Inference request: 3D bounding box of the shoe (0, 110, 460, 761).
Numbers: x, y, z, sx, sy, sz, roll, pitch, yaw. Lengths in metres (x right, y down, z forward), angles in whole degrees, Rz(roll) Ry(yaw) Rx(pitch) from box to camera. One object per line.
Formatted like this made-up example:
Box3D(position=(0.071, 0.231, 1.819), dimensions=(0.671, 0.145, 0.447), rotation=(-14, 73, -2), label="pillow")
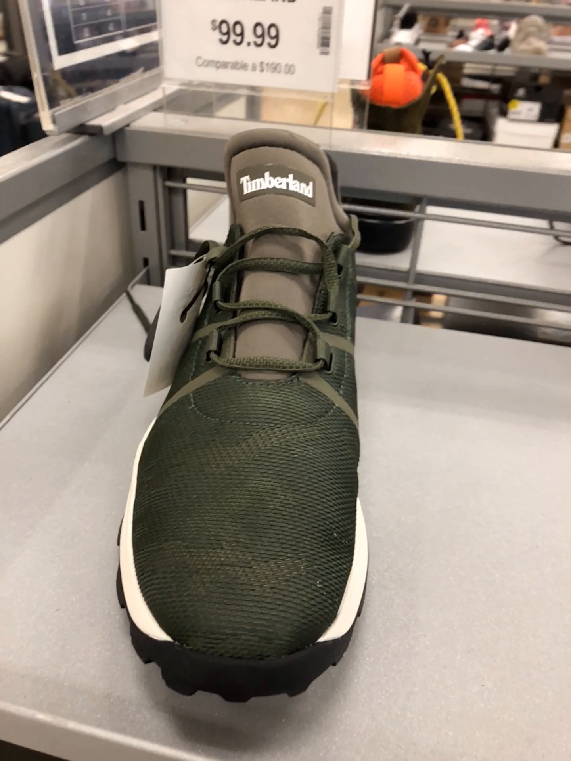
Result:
Box3D(position=(-0.017, -0.019, 0.315), dimensions=(0.130, 0.149, 0.313), rotation=(5, 34, 2), label="shoe")
